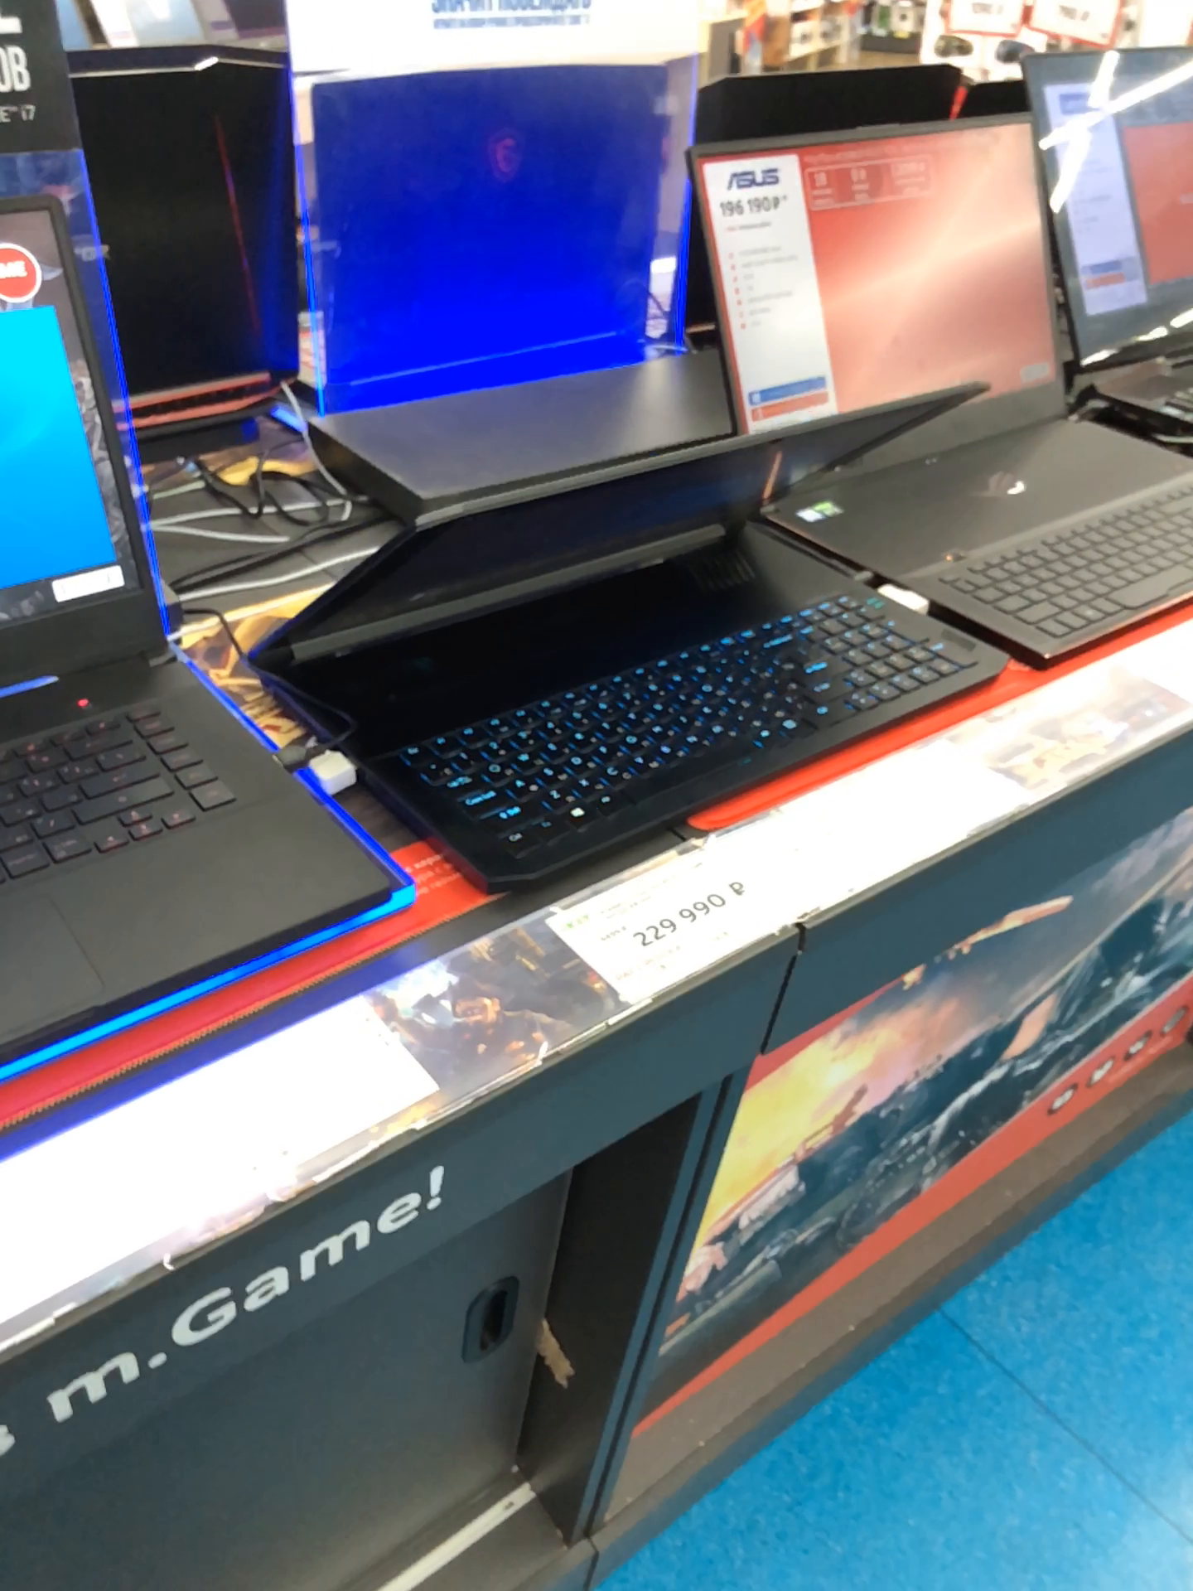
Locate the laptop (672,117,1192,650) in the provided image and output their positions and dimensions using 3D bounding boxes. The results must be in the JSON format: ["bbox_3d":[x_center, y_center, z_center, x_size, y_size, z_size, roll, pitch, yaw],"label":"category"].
[{"bbox_3d":[0.325,-0.334,0.972,0.372,0.235,0.364,-23,42,-32],"label":"laptop"}]

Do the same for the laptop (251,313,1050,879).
[{"bbox_3d":[0.035,-0.140,0.746,0.371,0.152,0.226,-23,43,-32],"label":"laptop"}]
